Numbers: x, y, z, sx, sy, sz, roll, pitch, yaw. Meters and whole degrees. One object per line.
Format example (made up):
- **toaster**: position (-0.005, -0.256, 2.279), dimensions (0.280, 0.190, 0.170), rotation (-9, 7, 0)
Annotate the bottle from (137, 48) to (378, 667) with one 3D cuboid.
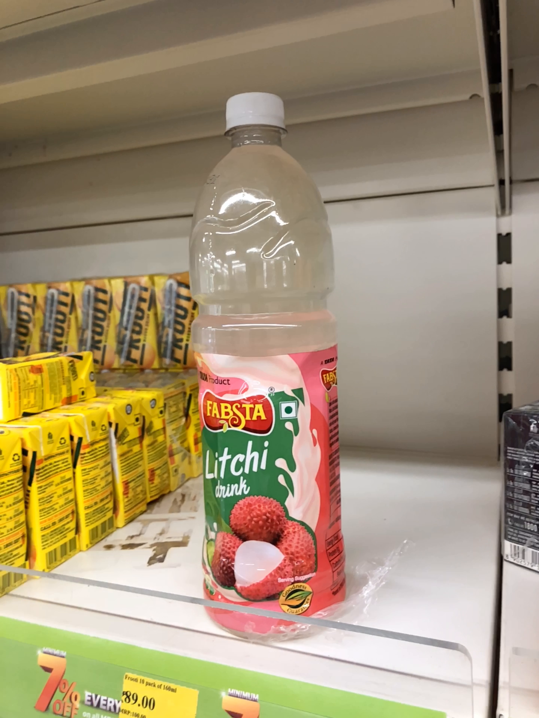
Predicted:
- **bottle**: position (-0.001, 0.002, 0.309), dimensions (0.080, 0.269, 0.070), rotation (1, 10, 34)
